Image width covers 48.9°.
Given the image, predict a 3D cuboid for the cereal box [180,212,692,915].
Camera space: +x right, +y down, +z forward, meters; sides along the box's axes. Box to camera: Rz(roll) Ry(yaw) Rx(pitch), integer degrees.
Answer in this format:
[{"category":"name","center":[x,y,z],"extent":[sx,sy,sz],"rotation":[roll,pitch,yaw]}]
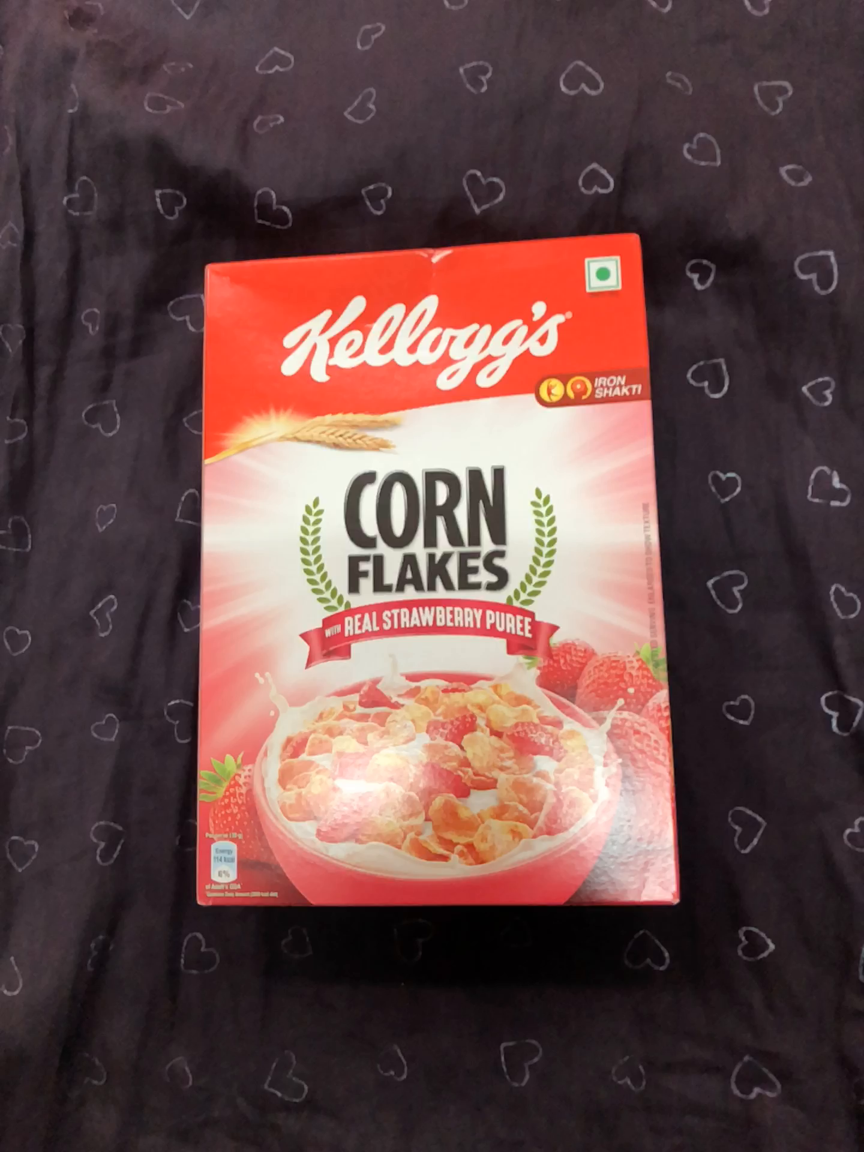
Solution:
[{"category":"cereal box","center":[0.000,-0.004,0.405],"extent":[0.190,0.070,0.270],"rotation":[-2,82,5]}]
